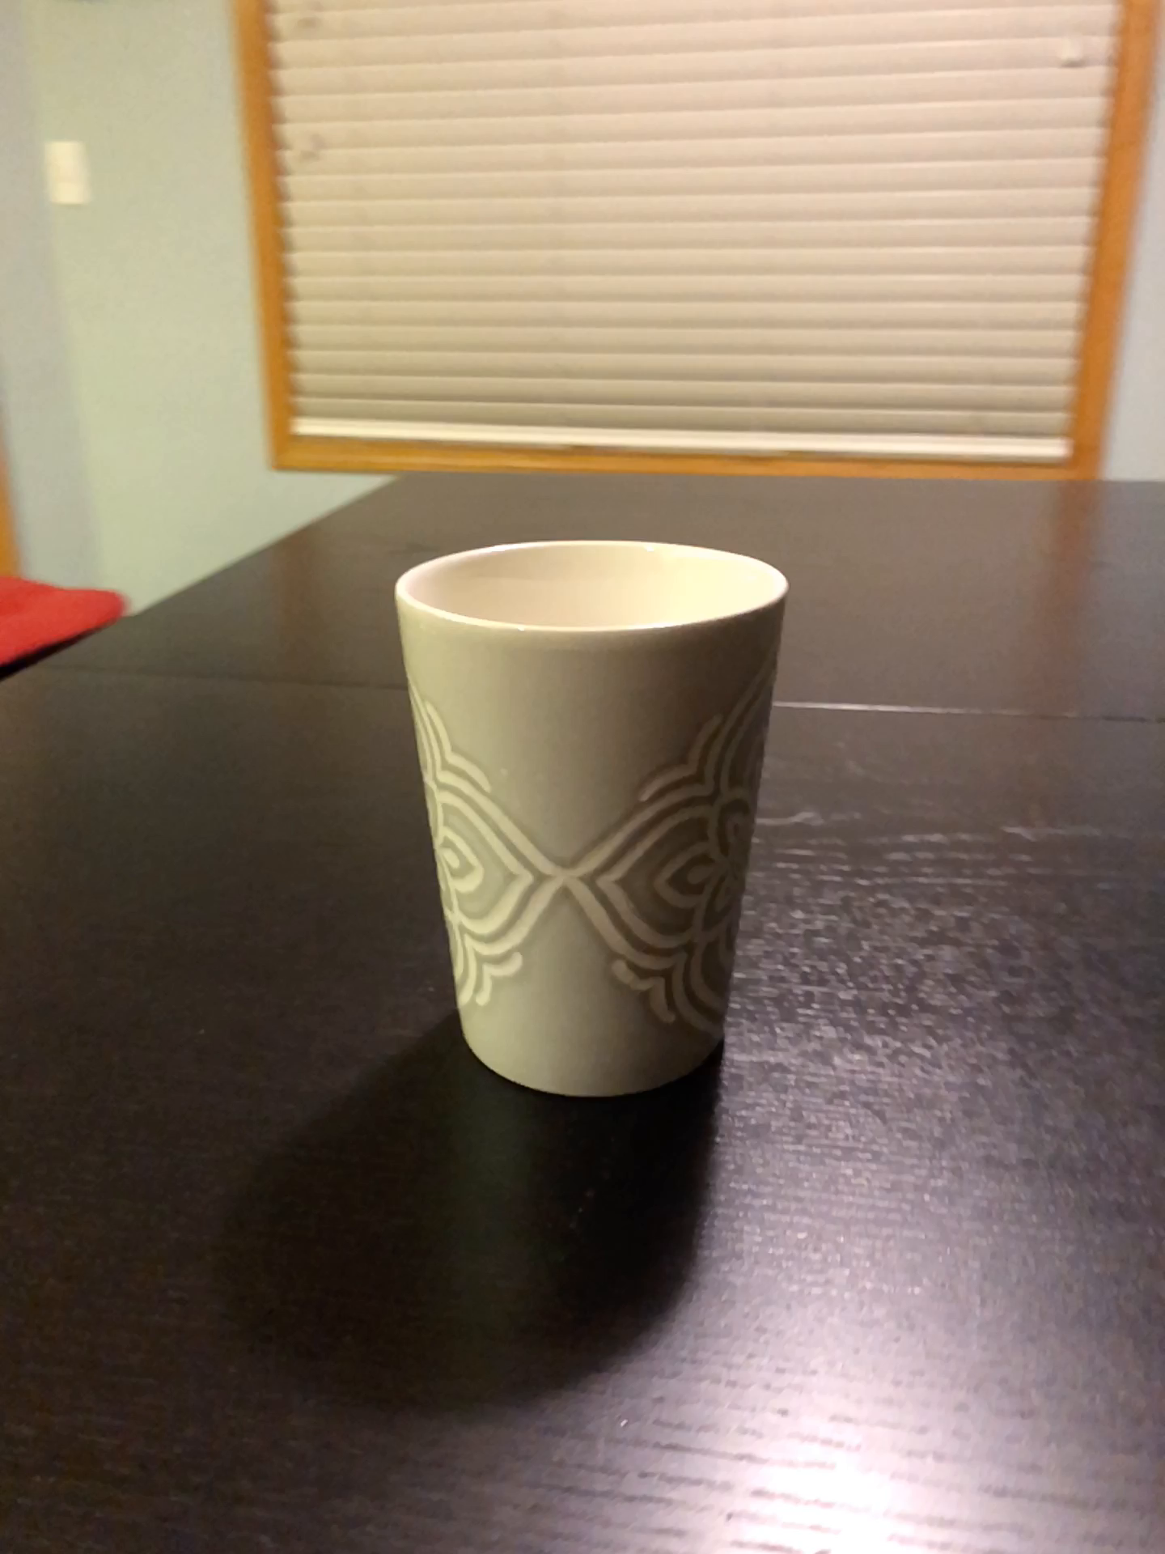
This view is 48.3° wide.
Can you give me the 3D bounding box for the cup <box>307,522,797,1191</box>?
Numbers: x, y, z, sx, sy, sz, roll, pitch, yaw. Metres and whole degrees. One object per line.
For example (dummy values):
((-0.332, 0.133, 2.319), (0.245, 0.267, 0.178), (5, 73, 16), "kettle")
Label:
((0.002, 0.010, 0.347), (0.100, 0.129, 0.131), (3, 21, 9), "cup")
